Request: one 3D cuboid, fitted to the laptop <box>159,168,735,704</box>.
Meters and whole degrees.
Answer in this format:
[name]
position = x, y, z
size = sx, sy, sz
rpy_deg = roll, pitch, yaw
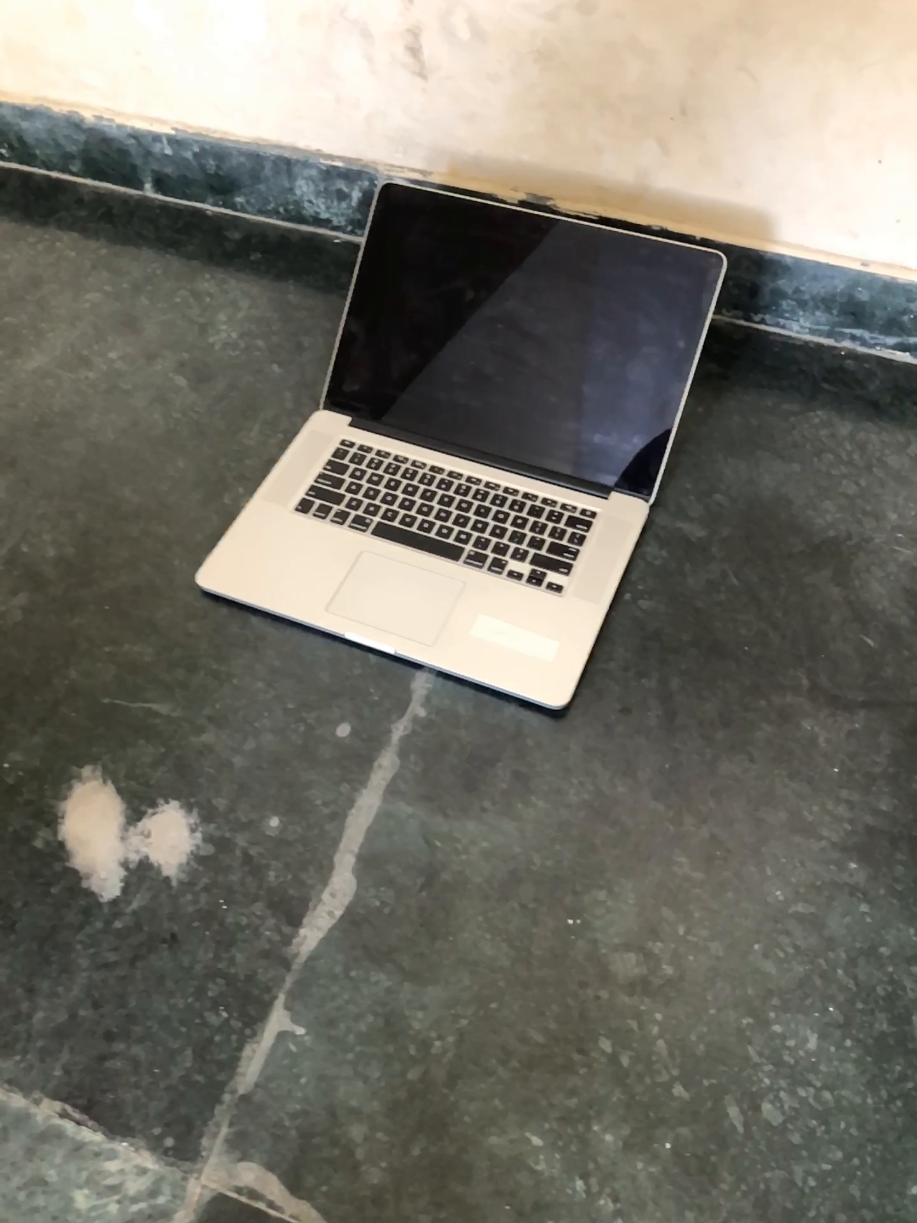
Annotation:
[laptop]
position = 0.011, -0.182, 0.910
size = 0.342, 0.130, 0.435
rpy_deg = 18, 60, 13
